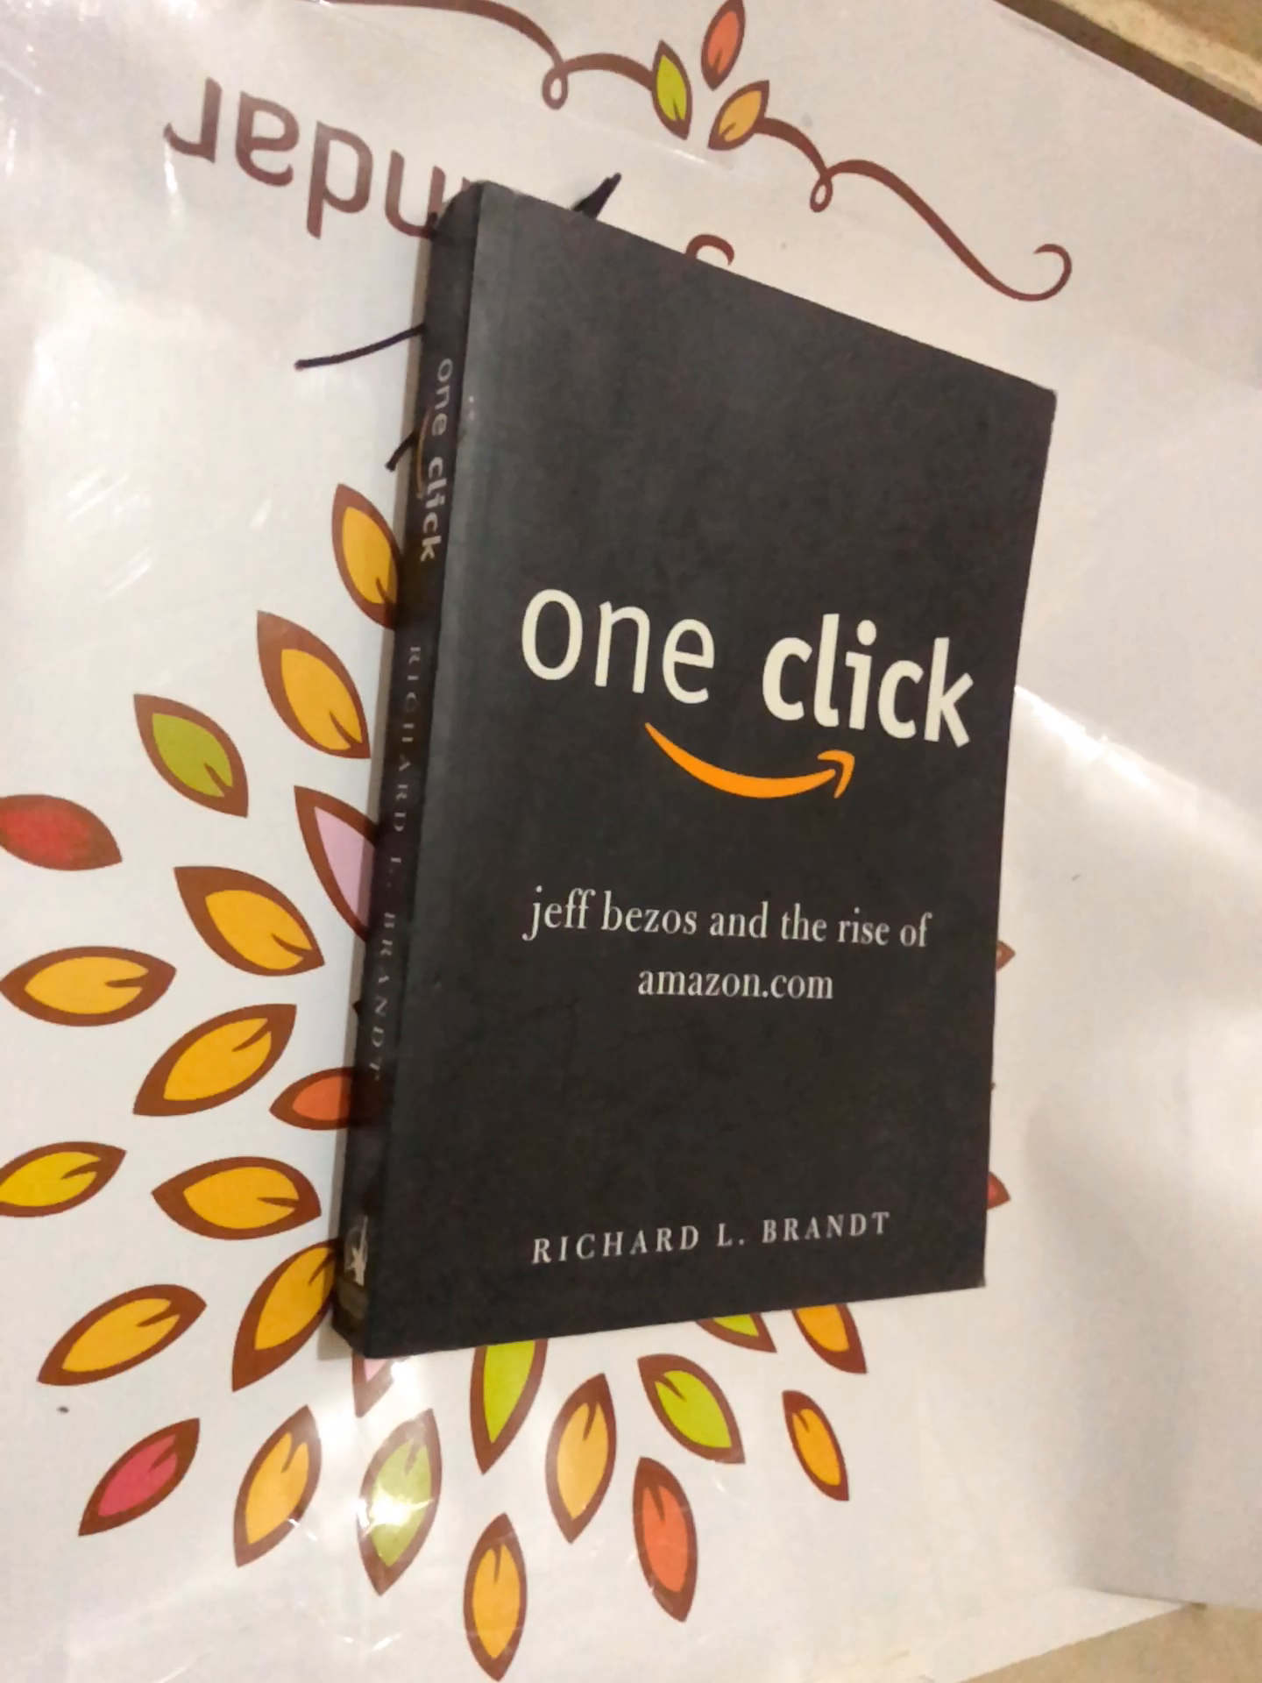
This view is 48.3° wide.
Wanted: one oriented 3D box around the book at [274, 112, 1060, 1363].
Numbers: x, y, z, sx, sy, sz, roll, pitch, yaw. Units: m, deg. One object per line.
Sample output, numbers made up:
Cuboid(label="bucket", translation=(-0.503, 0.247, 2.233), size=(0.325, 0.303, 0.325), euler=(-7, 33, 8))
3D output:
Cuboid(label="book", translation=(0.018, -0.013, 0.295), size=(0.161, 0.020, 0.220), euler=(7, 86, -30))
